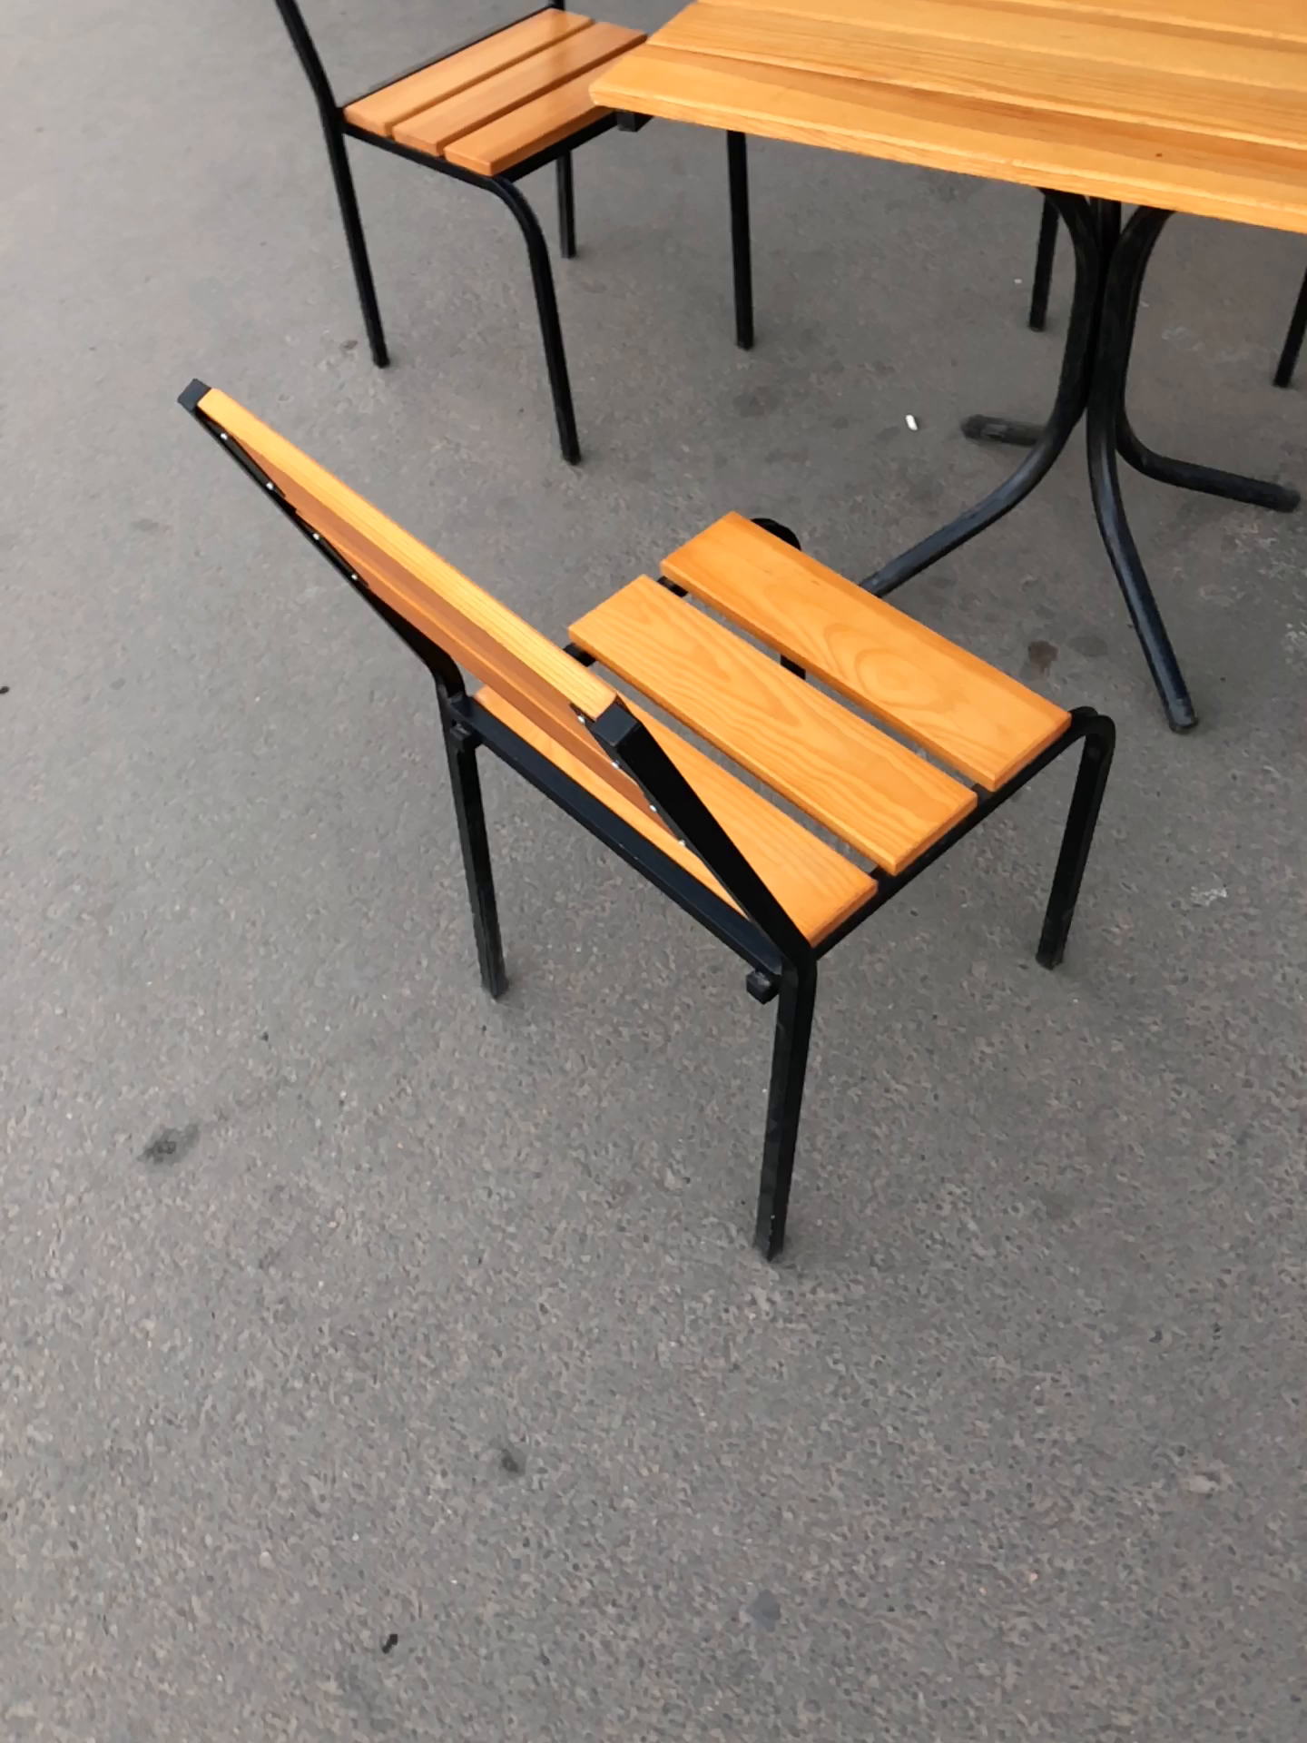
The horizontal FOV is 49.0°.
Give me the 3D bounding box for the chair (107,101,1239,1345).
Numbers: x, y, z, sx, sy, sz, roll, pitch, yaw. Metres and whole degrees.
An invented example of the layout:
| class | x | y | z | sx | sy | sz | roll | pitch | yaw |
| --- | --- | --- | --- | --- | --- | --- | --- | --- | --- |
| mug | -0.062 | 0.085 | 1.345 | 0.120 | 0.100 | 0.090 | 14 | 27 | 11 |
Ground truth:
| class | x | y | z | sx | sy | sz | roll | pitch | yaw |
| --- | --- | --- | --- | --- | --- | --- | --- | --- | --- |
| chair | 0.040 | -0.100 | 1.246 | 0.561 | 0.767 | 0.501 | -37 | 56 | -21 |
